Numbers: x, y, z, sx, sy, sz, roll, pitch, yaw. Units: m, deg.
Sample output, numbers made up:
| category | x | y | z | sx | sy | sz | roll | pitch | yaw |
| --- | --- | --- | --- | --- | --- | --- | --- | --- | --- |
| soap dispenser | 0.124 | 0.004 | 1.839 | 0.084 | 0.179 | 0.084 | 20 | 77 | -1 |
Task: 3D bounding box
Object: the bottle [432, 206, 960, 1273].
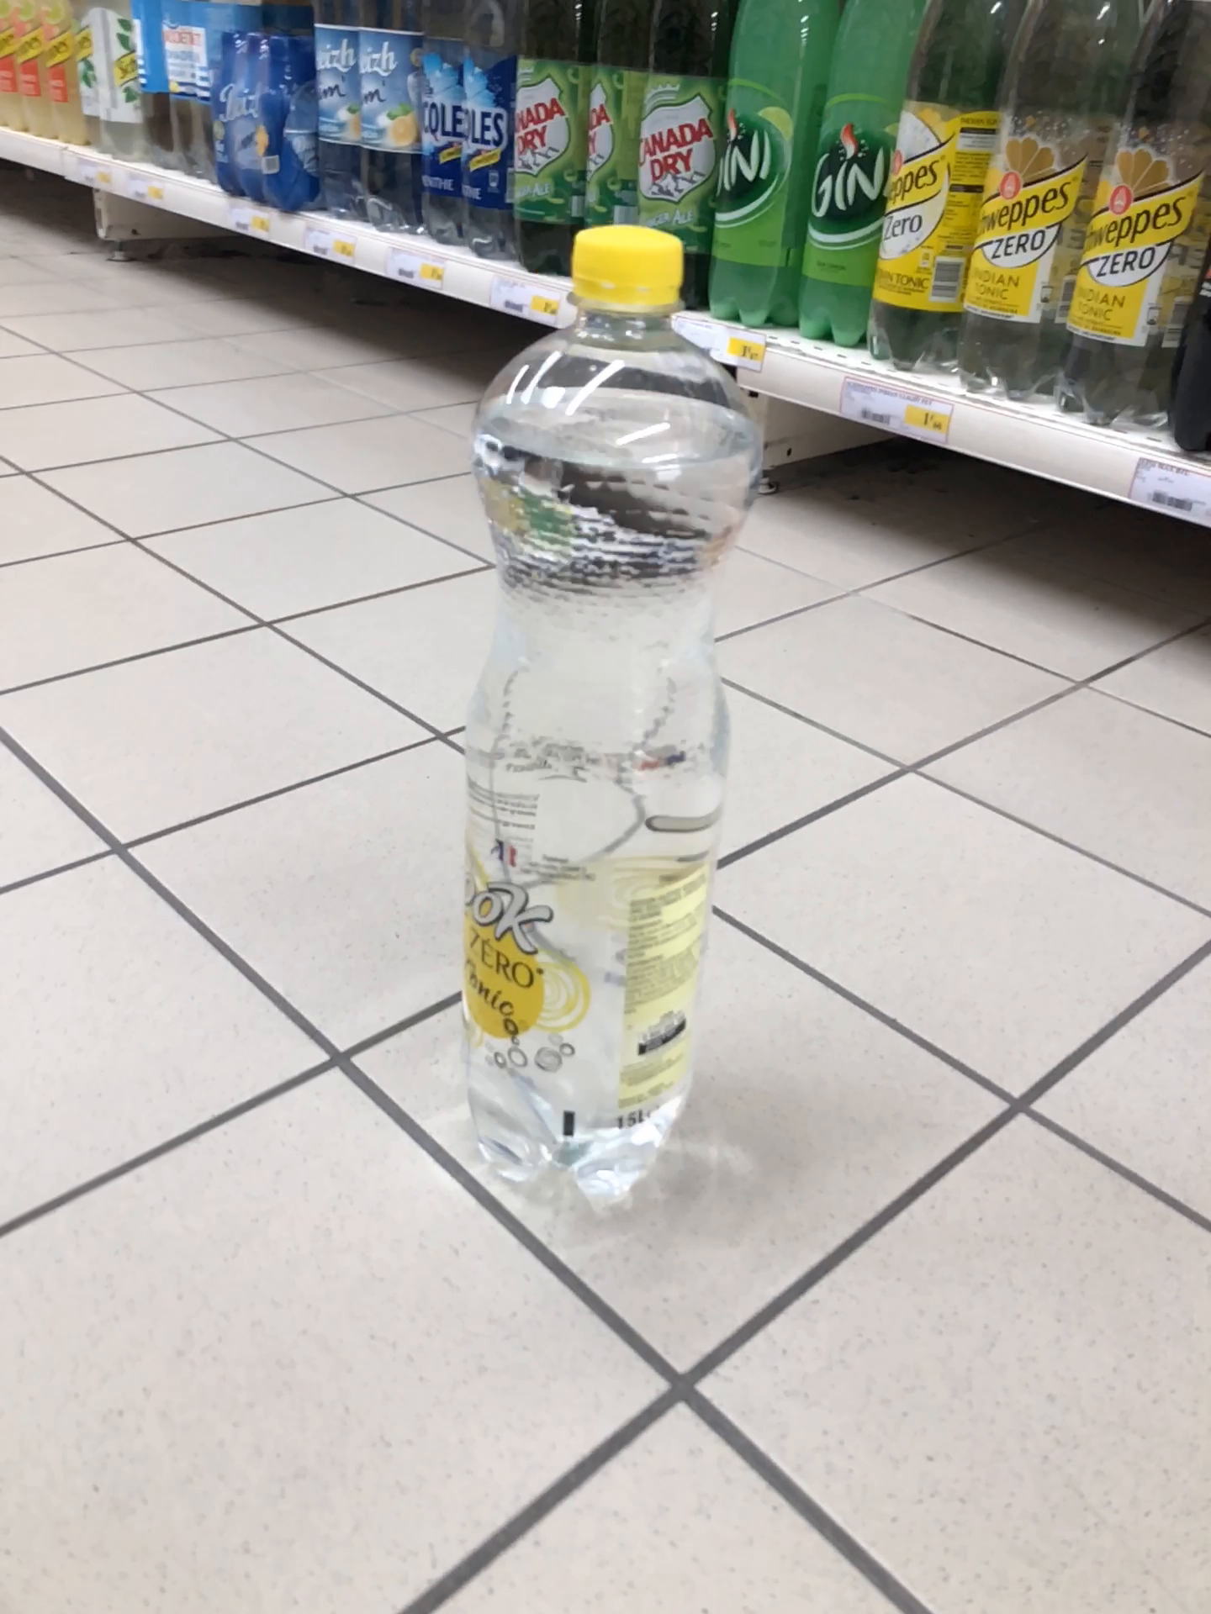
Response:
| category | x | y | z | sx | sy | sz | roll | pitch | yaw |
| --- | --- | --- | --- | --- | --- | --- | --- | --- | --- |
| bottle | 0.013 | -0.015 | 0.431 | 0.100 | 0.318 | 0.100 | 3 | 30 | -2 |
